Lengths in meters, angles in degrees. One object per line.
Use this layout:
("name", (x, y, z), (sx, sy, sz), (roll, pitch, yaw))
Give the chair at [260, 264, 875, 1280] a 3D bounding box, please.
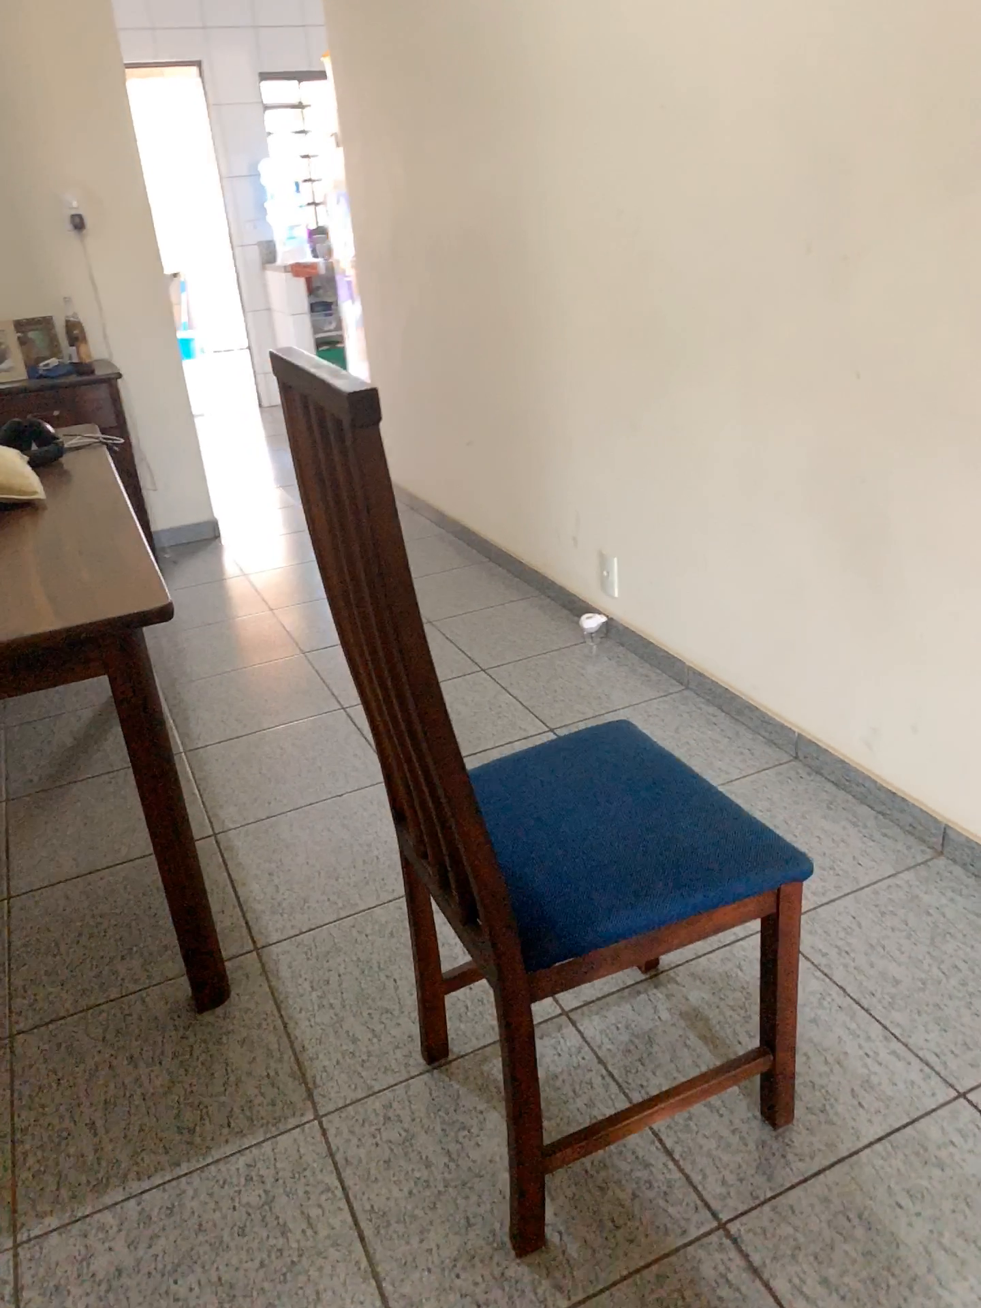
("chair", (0.107, 0.118, 1.320), (0.521, 1.124, 0.472), (-15, 24, -20))
